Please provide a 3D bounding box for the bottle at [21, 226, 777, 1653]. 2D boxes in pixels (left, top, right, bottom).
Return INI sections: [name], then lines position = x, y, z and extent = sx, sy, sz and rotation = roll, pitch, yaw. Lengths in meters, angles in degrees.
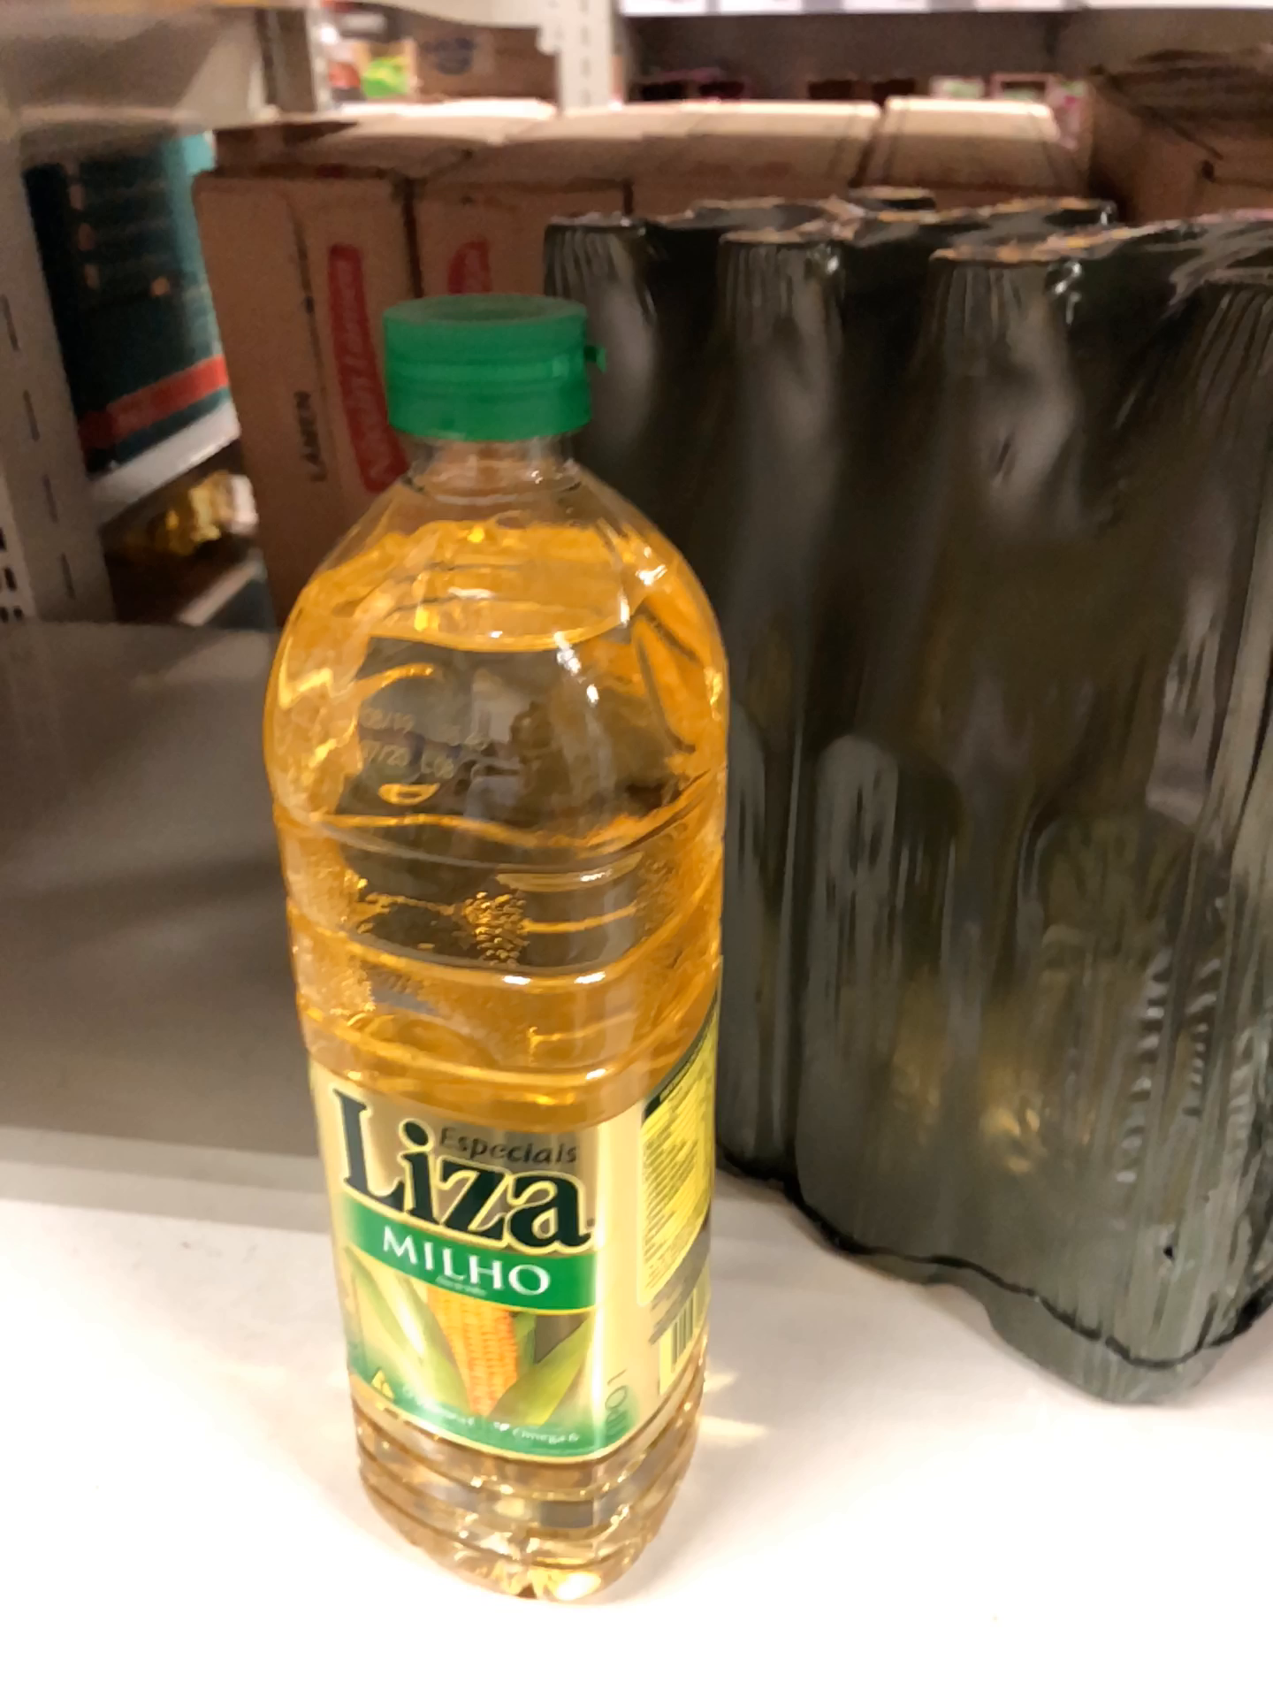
[bottle]
position = -0.025, 0.027, 0.257
extent = 0.080, 0.248, 0.070
rotation = 8, 31, 17
